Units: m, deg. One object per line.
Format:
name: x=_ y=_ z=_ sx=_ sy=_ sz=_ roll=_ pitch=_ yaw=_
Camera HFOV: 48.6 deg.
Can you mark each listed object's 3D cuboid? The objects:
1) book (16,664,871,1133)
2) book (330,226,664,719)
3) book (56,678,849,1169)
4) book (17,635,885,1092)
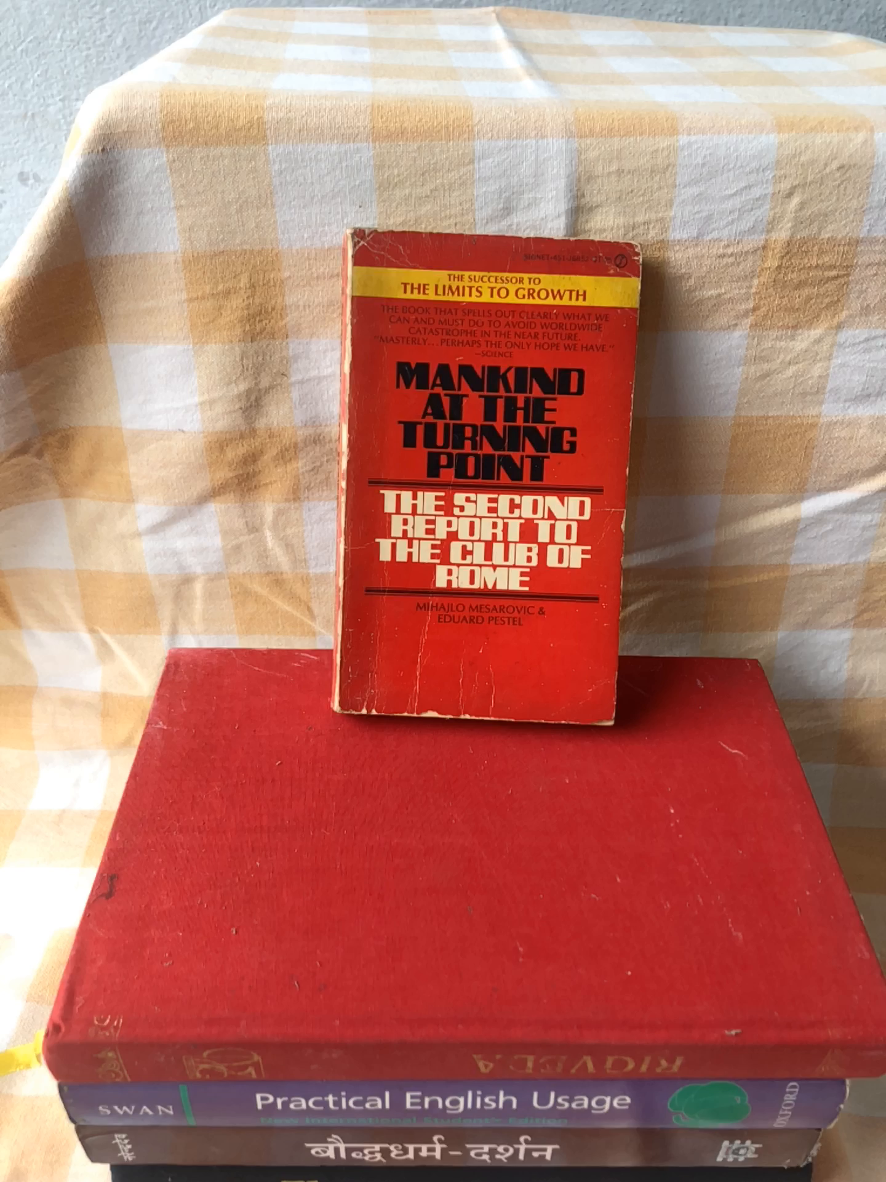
book: x=0.000 y=0.110 z=0.397 sx=0.270 sy=0.040 sz=0.191 roll=-1 pitch=37 yaw=1
book: x=0.016 y=-0.041 z=0.366 sx=0.110 sy=0.170 sz=0.040 roll=2 pitch=12 yaw=-1
book: x=0.004 y=0.115 z=0.385 sx=0.240 sy=0.040 sz=0.191 roll=-1 pitch=37 yaw=1
book: x=0.005 y=0.097 z=0.399 sx=0.280 sy=0.040 sz=0.191 roll=-1 pitch=37 yaw=1
